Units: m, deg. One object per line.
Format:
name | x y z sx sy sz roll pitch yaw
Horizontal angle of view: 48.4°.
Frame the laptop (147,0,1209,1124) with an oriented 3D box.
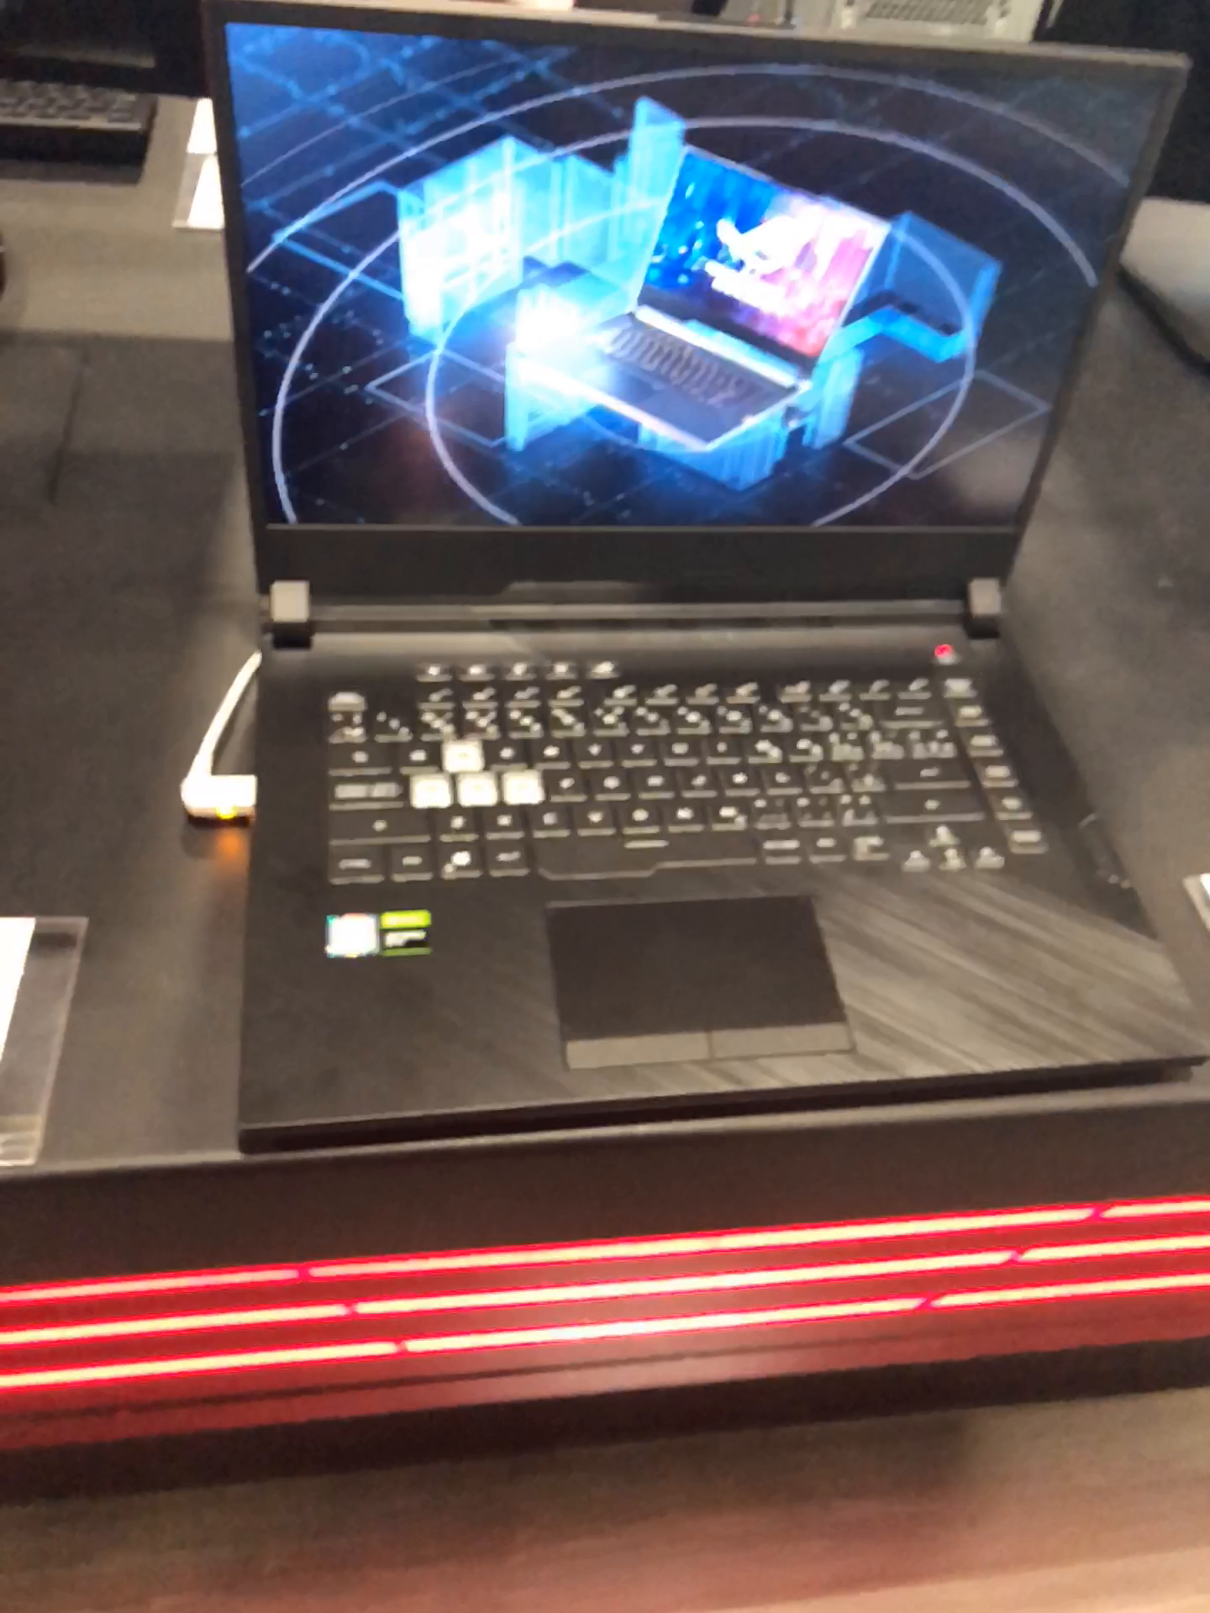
laptop | 0.049 -0.086 0.468 0.350 0.243 0.281 -2 49 -10
